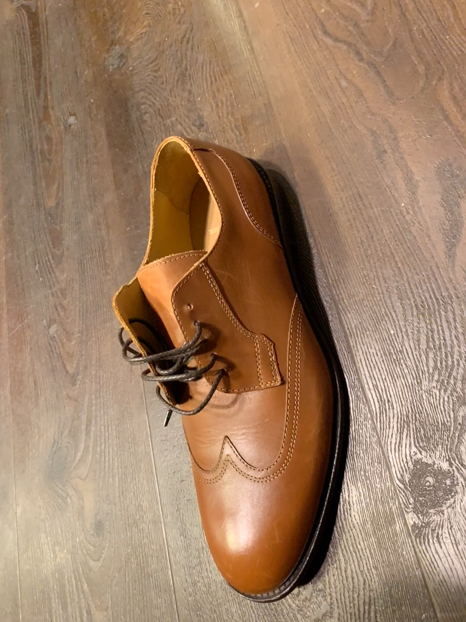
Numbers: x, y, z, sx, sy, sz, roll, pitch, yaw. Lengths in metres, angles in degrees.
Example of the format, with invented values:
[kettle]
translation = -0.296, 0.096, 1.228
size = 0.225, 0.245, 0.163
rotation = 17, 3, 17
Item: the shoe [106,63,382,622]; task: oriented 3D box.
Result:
[shoe]
translation = 0.000, 0.023, 0.324
size = 0.120, 0.109, 0.321
rotation = -14, 70, 30
